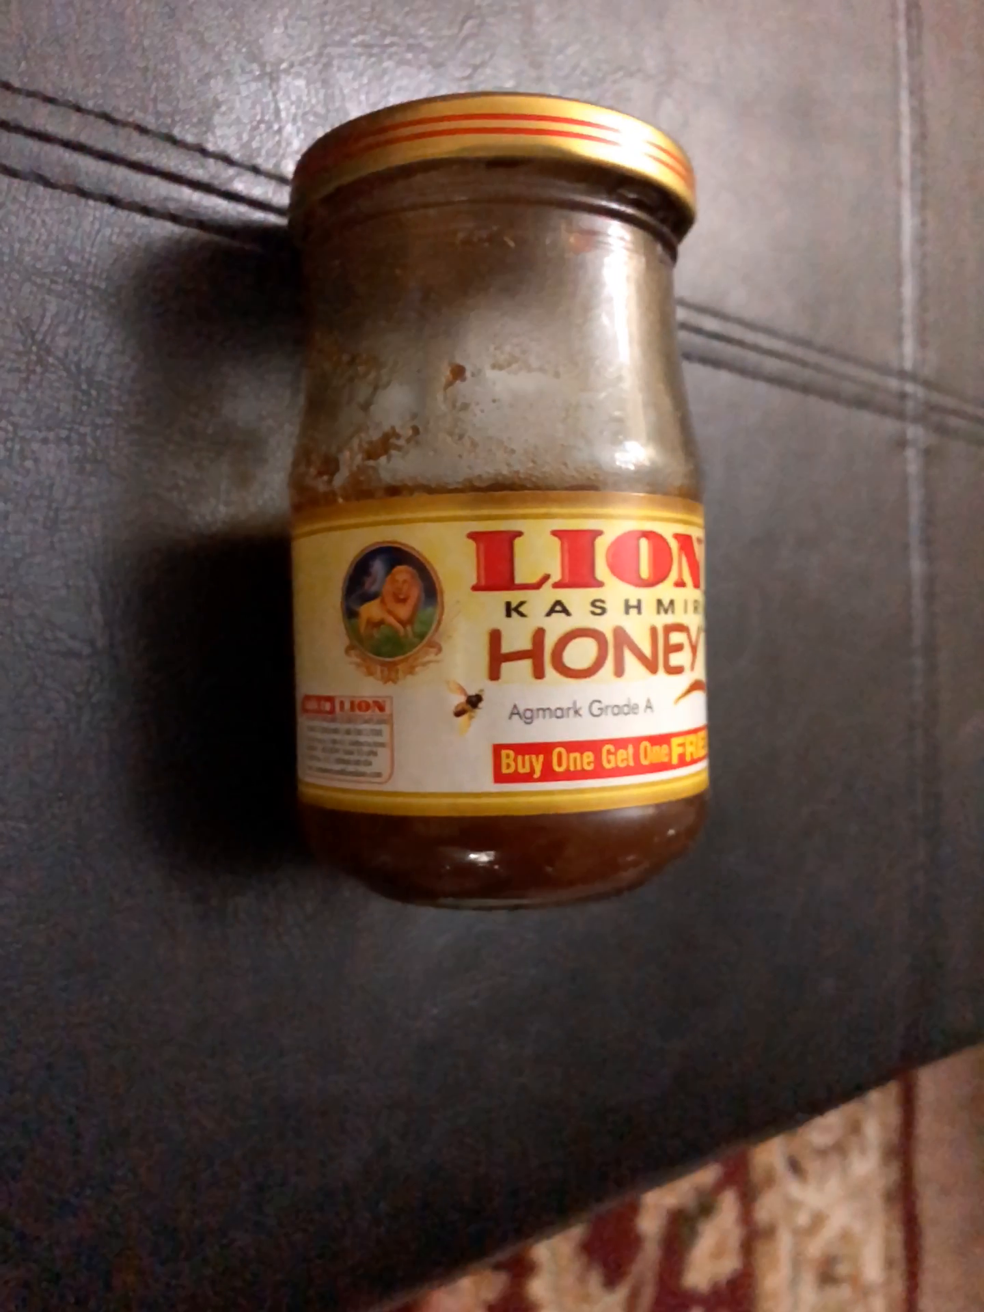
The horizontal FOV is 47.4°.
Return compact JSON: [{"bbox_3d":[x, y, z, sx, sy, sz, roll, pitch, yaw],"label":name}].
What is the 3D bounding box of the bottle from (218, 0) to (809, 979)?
[{"bbox_3d":[0.002,-0.019,0.165,0.060,0.059,0.108,-1,93,-40],"label":"bottle"}]
